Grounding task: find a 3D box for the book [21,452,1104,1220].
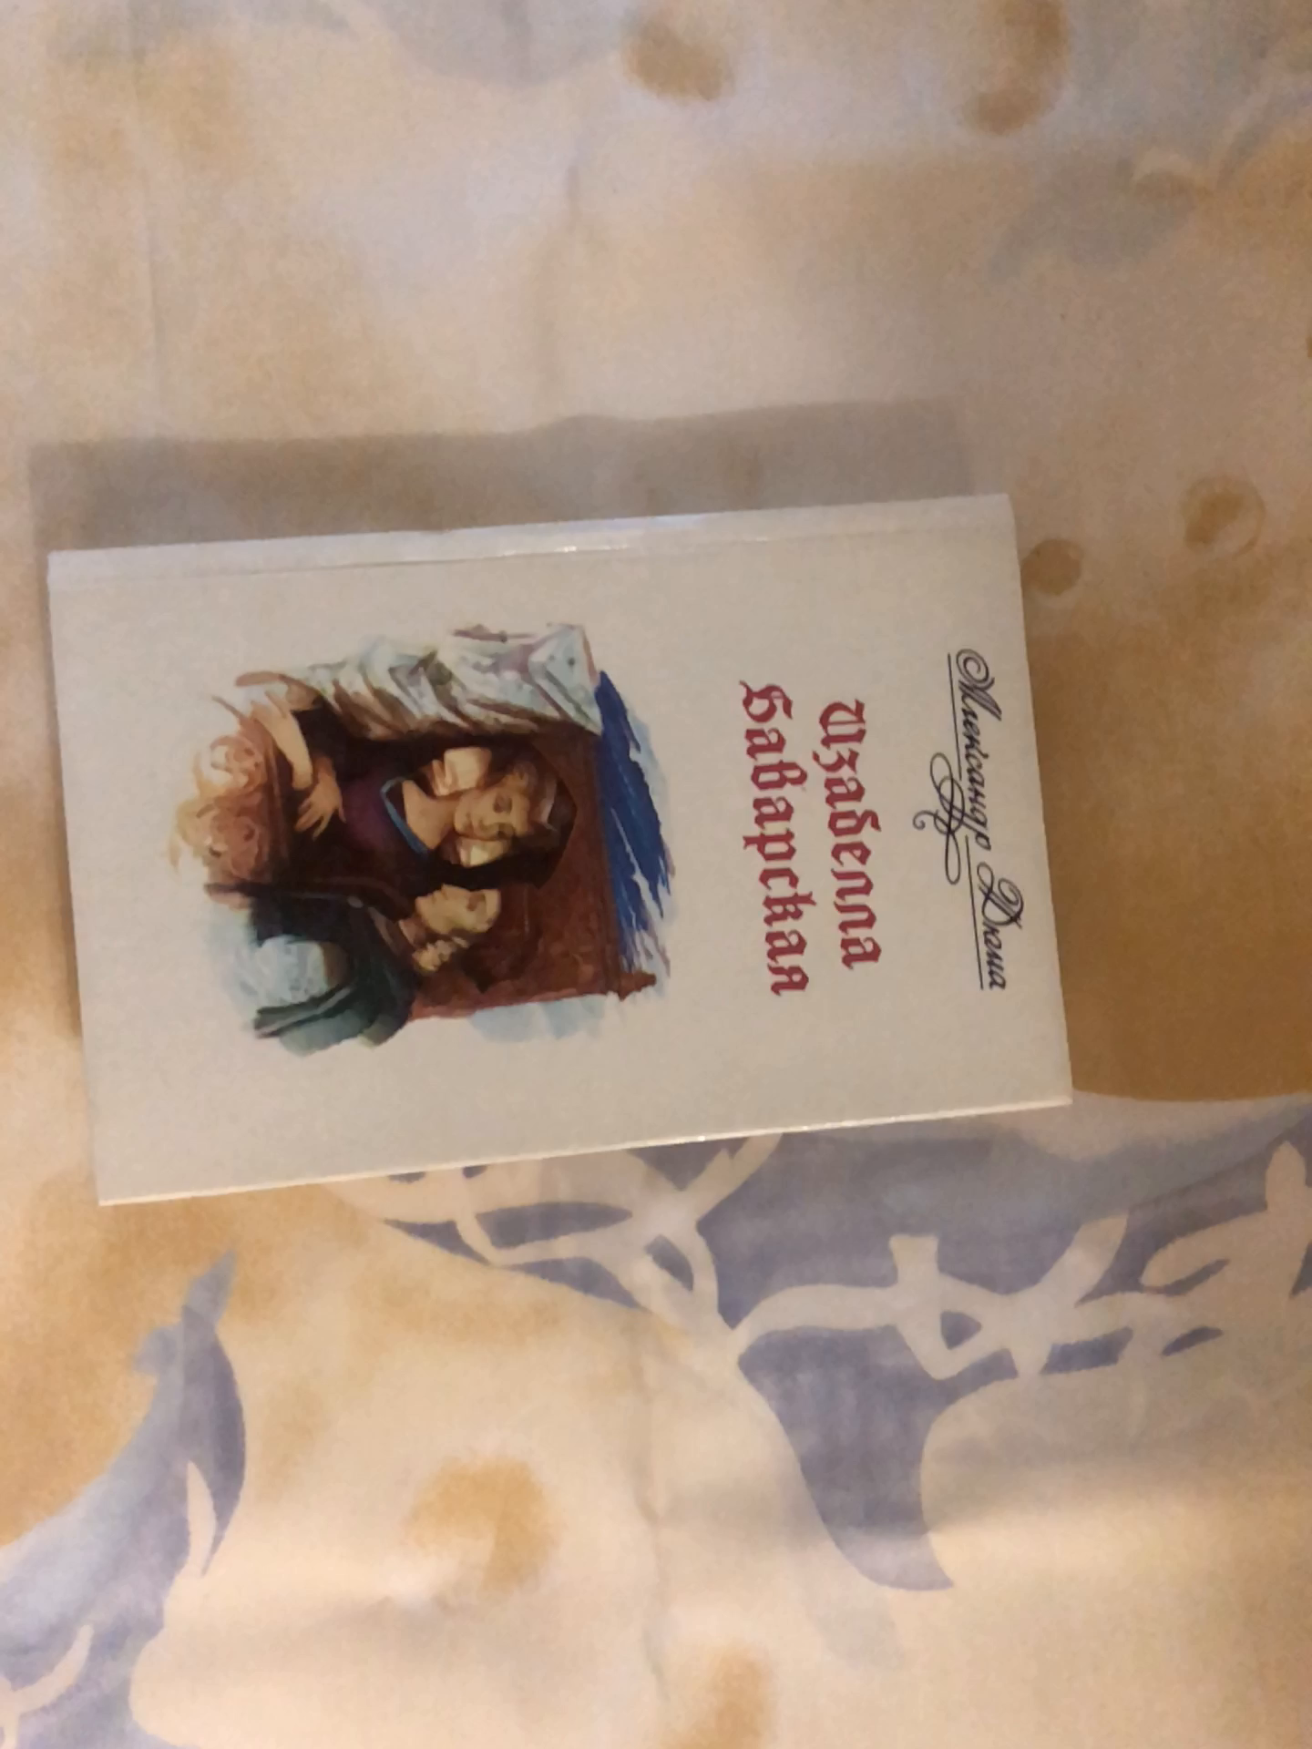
[{"bbox_3d":[-0.017,-0.011,0.310,0.208,0.026,0.139,-5,87,-7],"label":"book"}]
